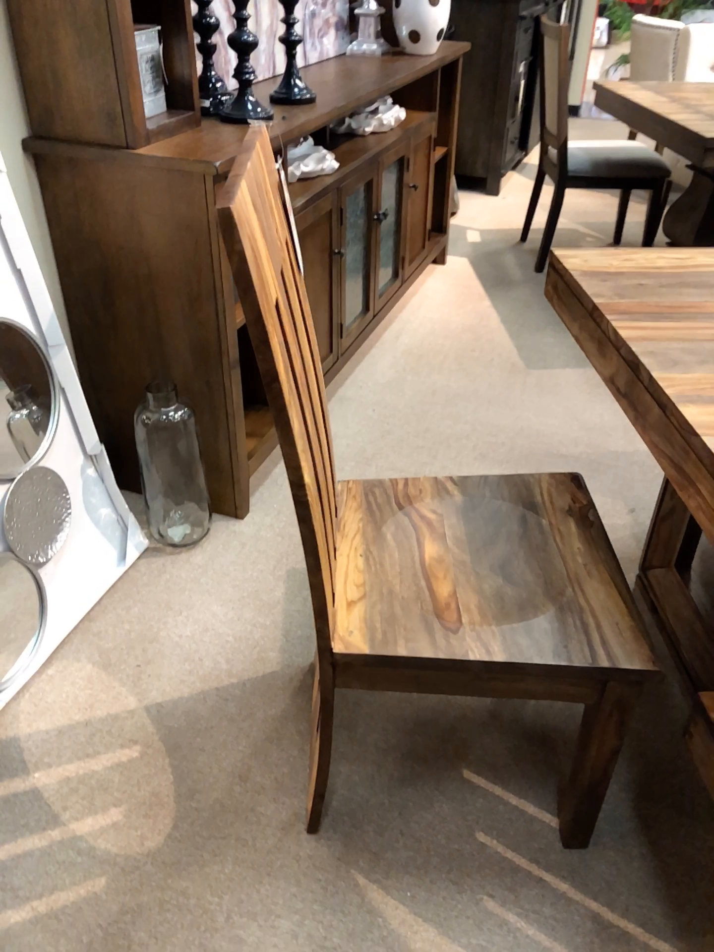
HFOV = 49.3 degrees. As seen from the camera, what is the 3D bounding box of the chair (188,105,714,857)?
[{"bbox_3d":[0.134,0.050,1.181,0.590,1.023,0.514,0,35,-1],"label":"chair"}]
